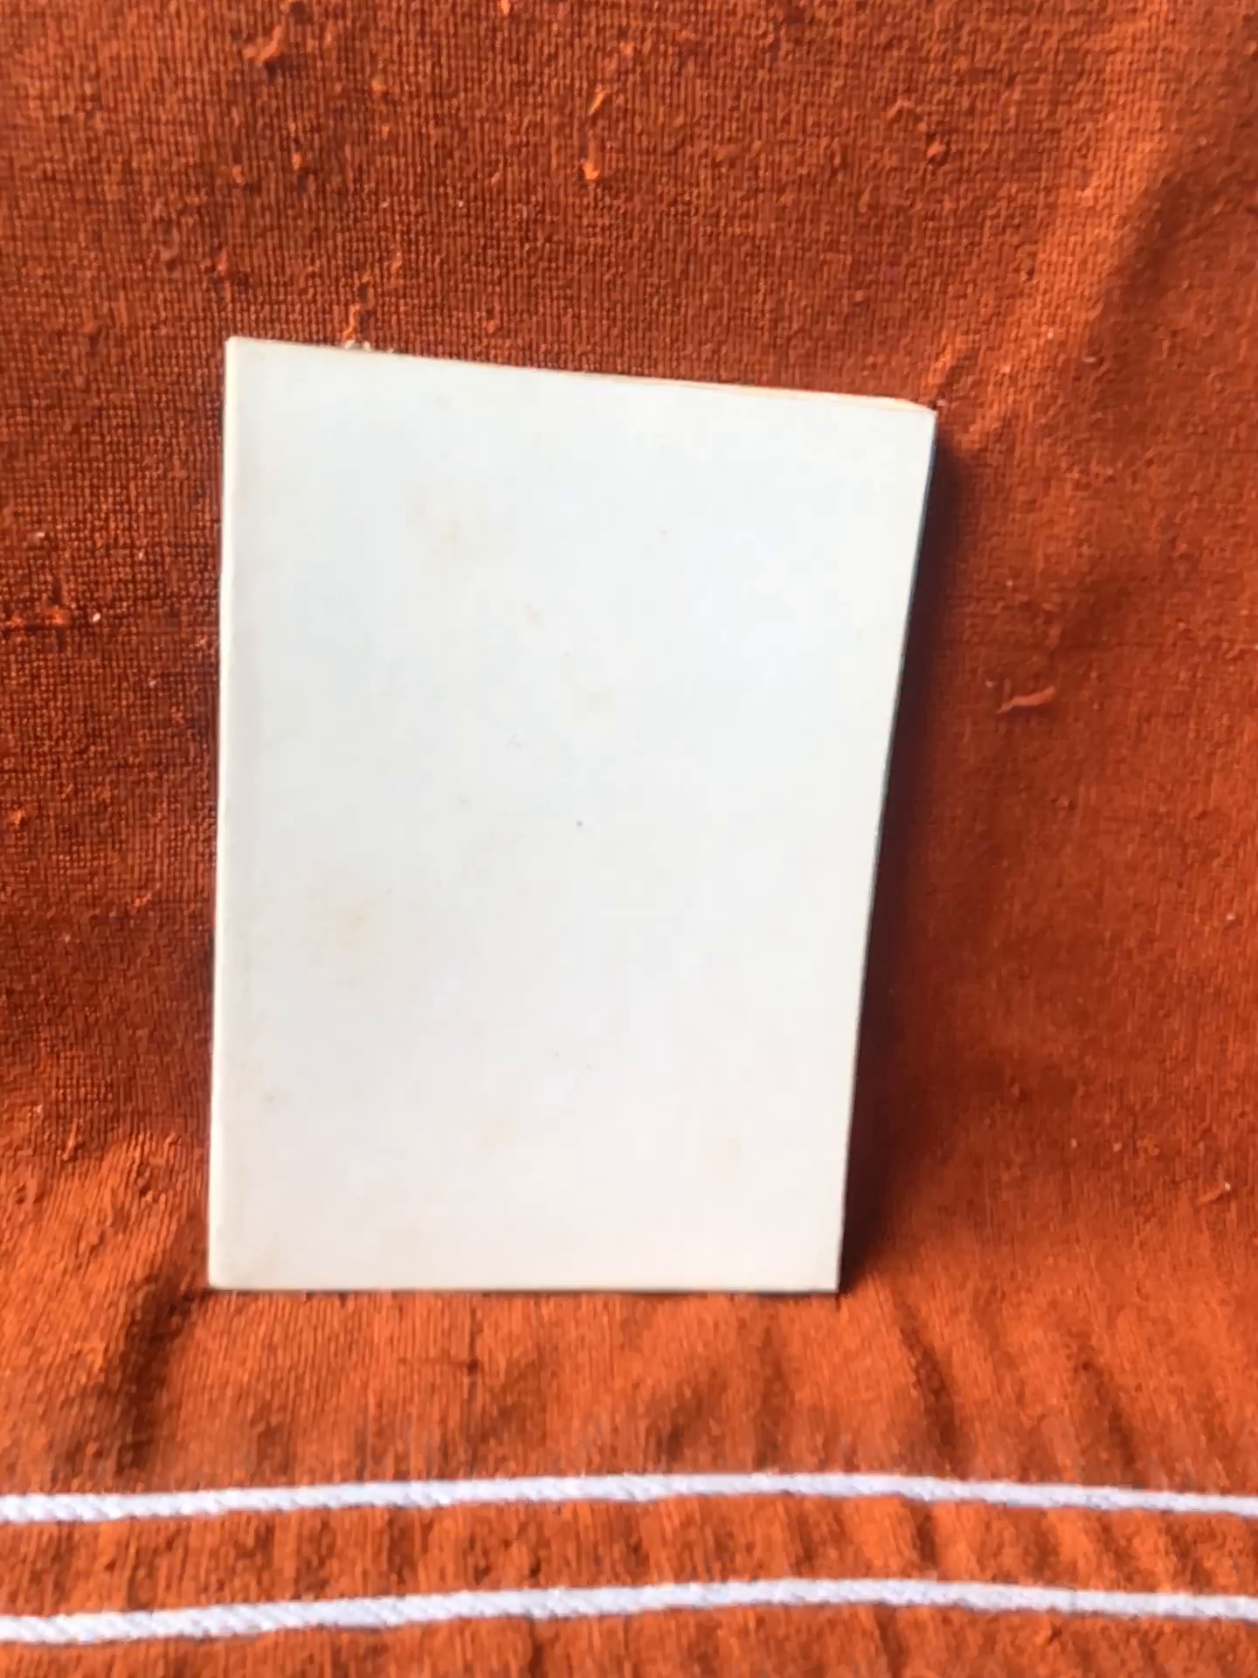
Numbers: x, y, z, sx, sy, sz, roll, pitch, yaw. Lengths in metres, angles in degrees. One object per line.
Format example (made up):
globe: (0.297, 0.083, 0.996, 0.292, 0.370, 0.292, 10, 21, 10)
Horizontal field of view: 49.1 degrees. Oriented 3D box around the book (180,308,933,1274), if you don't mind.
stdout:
book: (-0.016, -0.005, 0.314, 0.150, 0.200, 0.030, 4, 4, -9)
